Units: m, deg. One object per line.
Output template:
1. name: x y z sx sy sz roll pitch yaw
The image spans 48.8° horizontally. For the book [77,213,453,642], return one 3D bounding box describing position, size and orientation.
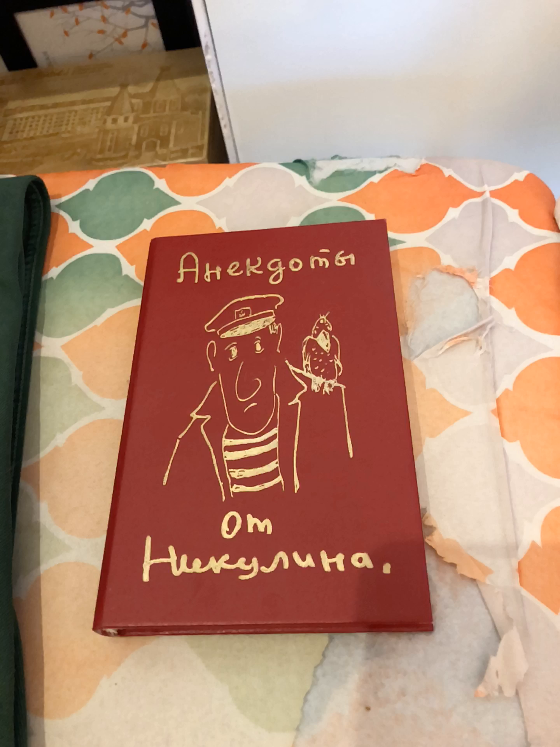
1. book: -0.006 0.013 0.297 0.140 0.030 0.208 -3 57 6
